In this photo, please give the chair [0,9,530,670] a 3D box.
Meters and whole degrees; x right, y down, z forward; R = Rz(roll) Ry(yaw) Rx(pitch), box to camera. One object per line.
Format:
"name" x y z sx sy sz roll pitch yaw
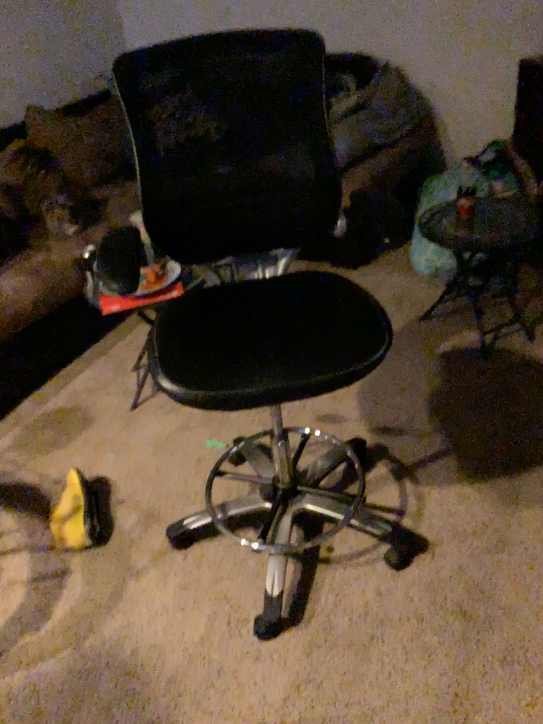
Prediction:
"chair" -0.036 -0.096 1.467 0.760 1.170 0.930 -11 34 -3
